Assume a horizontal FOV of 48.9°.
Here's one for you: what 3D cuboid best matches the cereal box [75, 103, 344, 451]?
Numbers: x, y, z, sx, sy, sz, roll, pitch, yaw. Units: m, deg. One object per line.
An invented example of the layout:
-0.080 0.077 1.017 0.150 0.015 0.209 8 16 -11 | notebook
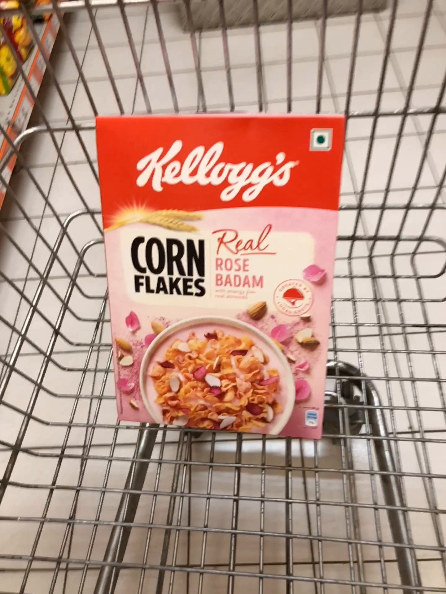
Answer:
-0.006 -0.017 0.402 0.180 0.259 0.080 3 19 9 | cereal box
